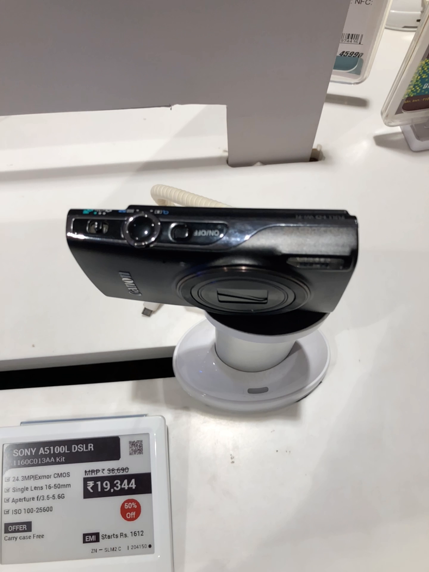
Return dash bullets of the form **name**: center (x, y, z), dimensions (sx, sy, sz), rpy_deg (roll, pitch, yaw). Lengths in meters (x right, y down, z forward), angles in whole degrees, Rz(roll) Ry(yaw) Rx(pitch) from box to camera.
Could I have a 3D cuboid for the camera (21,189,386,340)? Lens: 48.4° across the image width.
- **camera**: center (-0.003, -0.005, 0.177), dimensions (0.110, 0.060, 0.030), rpy_deg (2, 67, 1)
